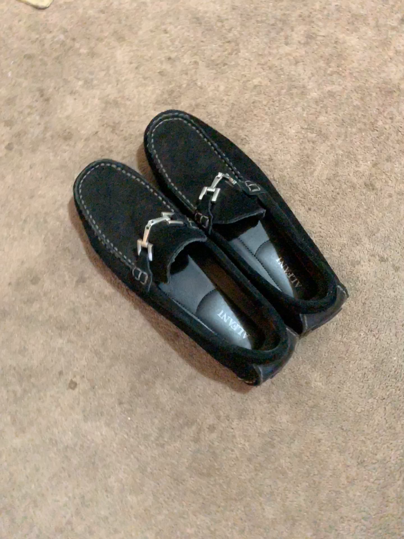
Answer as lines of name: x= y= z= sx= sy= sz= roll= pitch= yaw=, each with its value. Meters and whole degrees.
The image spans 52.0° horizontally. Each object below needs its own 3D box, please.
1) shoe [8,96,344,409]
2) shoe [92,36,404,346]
shoe: x=-0.028 y=-0.014 z=0.404 sx=0.300 sy=0.100 sz=0.100 roll=42 pitch=77 yaw=7
shoe: x=0.037 y=-0.072 z=0.414 sx=0.100 sy=0.100 sz=0.300 roll=-42 pitch=82 yaw=-12
